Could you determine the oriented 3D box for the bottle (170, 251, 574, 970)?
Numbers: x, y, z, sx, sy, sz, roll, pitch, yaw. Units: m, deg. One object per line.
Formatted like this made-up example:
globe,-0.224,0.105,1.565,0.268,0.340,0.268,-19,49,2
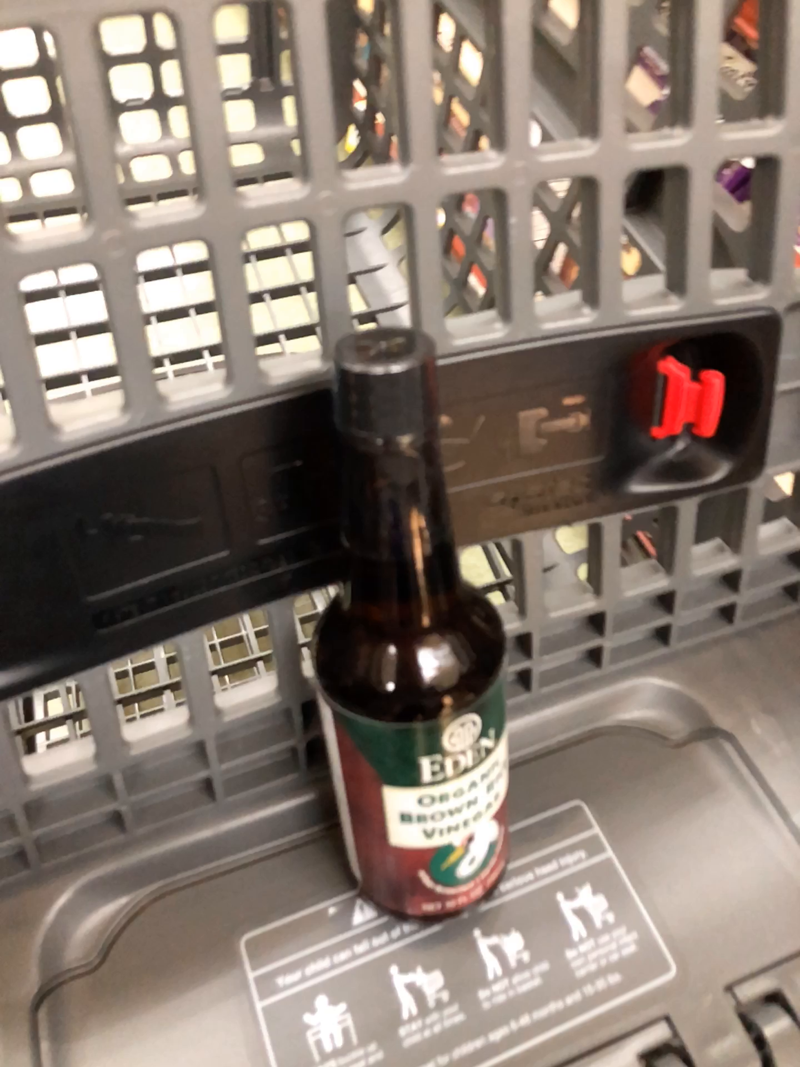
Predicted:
bottle,-0.001,0.027,0.259,0.070,0.190,0.070,-6,31,4
